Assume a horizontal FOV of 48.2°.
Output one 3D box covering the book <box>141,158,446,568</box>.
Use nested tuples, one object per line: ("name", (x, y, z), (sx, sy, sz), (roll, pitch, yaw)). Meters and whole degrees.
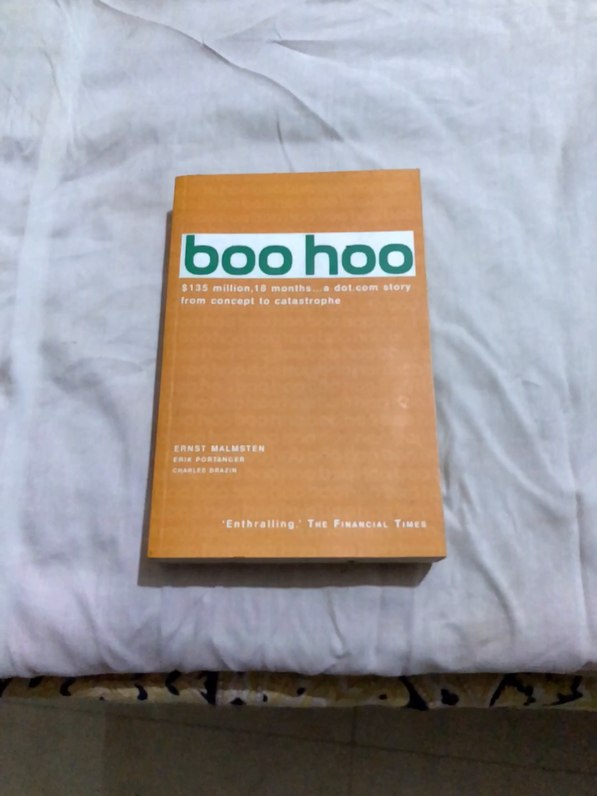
("book", (-0.002, -0.020, 0.334), (0.130, 0.040, 0.200), (-1, 72, 4))
